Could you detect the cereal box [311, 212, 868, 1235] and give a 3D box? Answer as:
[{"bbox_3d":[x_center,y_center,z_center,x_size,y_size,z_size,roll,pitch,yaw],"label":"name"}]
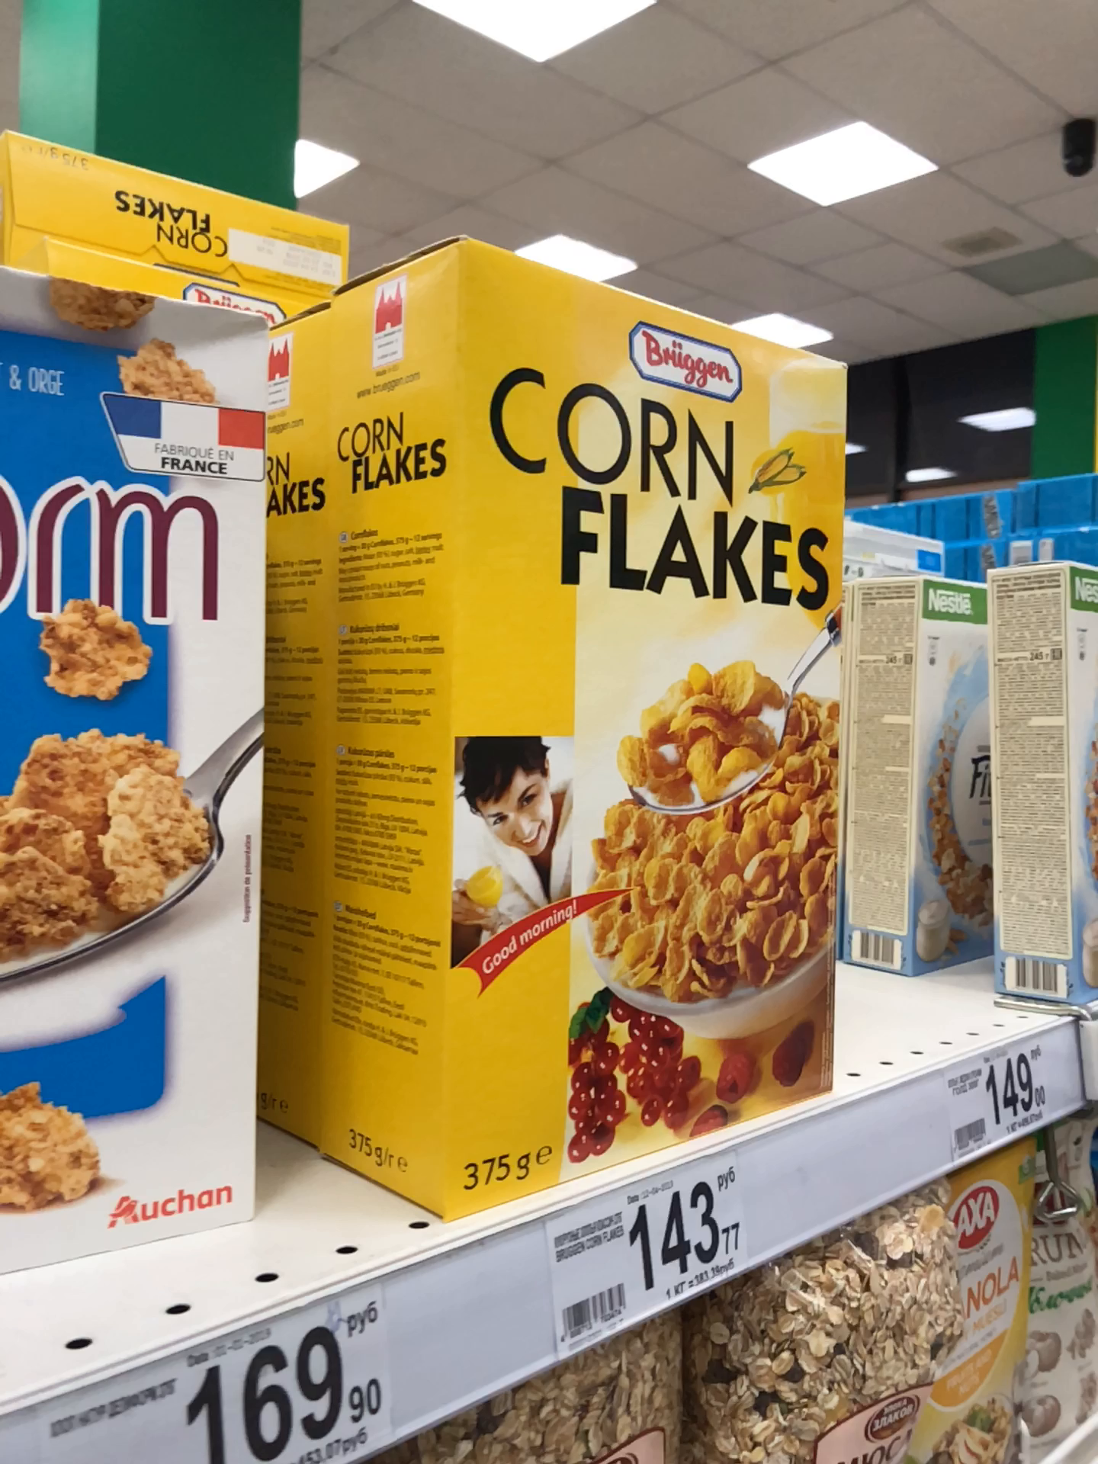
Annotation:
[{"bbox_3d":[0.023,-0.003,0.452,0.200,0.300,0.080,0,2,-42],"label":"cereal box"}]
